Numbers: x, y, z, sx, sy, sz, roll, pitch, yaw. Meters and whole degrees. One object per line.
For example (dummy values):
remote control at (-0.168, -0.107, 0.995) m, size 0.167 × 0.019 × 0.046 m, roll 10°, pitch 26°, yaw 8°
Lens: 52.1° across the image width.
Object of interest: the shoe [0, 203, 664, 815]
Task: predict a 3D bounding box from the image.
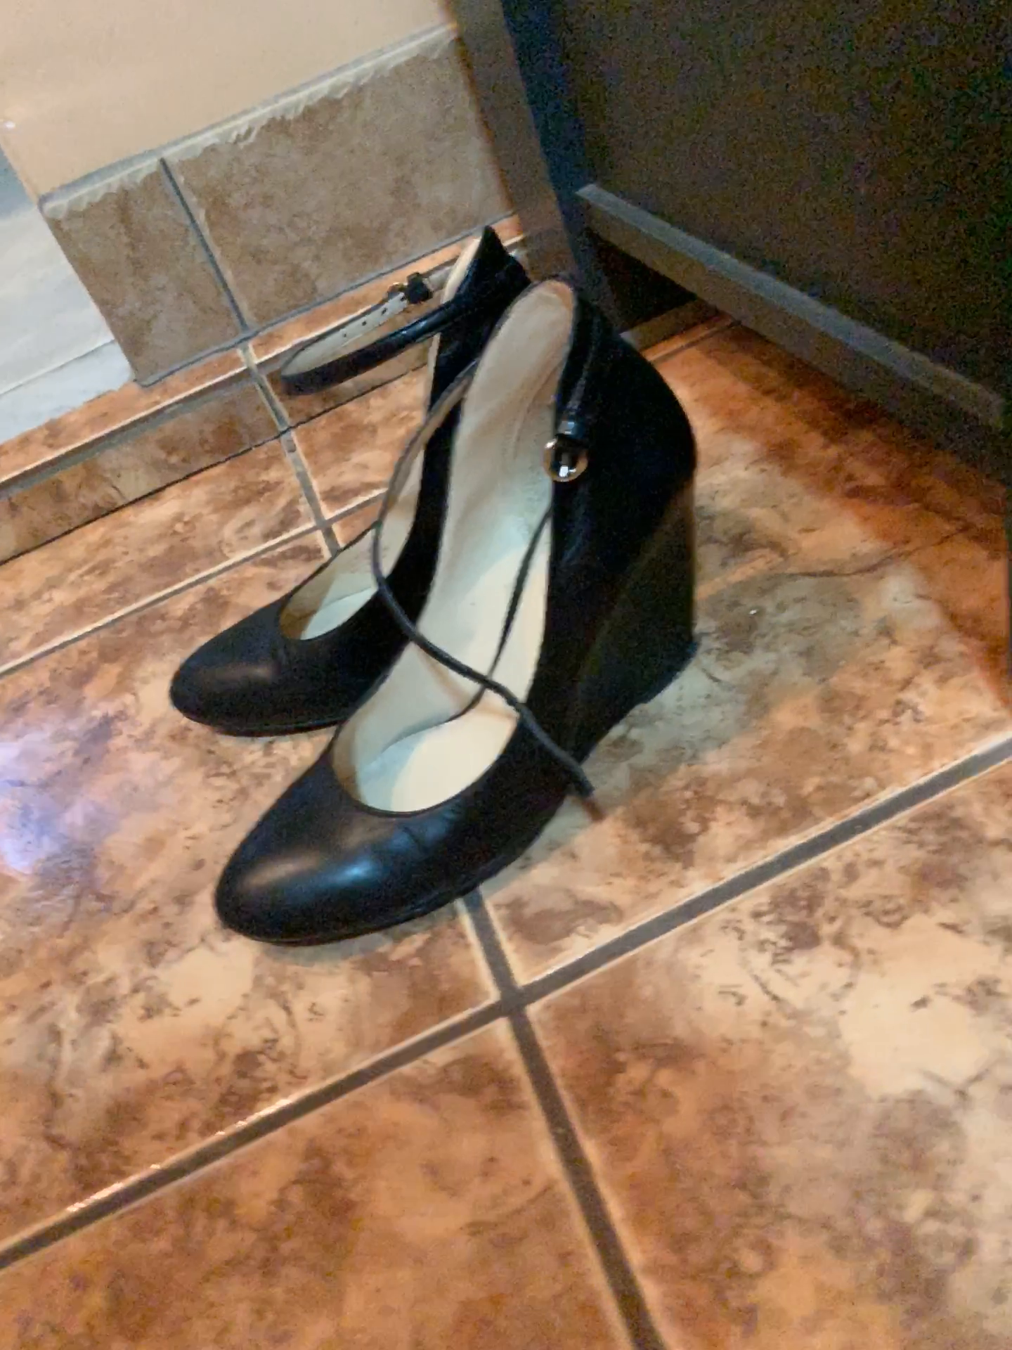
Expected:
shoe at (-0.060, -0.060, 0.416) m, size 0.200 × 0.159 × 0.079 m, roll -24°, pitch 40°, yaw 0°

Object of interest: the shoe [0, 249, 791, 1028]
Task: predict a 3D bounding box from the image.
shoe at (-0.027, -0.015, 0.335) m, size 0.209 × 0.140 × 0.087 m, roll -34°, pitch 41°, yaw -12°
